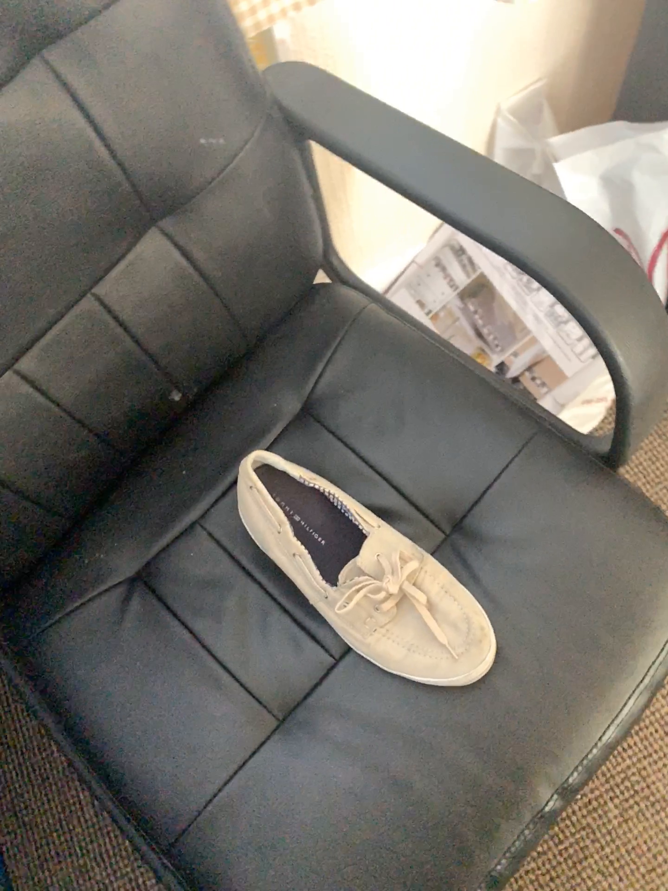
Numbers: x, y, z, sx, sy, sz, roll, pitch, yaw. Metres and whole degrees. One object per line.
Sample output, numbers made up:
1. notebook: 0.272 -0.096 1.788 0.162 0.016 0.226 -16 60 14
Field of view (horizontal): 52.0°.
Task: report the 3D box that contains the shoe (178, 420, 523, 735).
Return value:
1. shoe: 0.009 0.103 0.569 0.271 0.070 0.100 36 77 19
